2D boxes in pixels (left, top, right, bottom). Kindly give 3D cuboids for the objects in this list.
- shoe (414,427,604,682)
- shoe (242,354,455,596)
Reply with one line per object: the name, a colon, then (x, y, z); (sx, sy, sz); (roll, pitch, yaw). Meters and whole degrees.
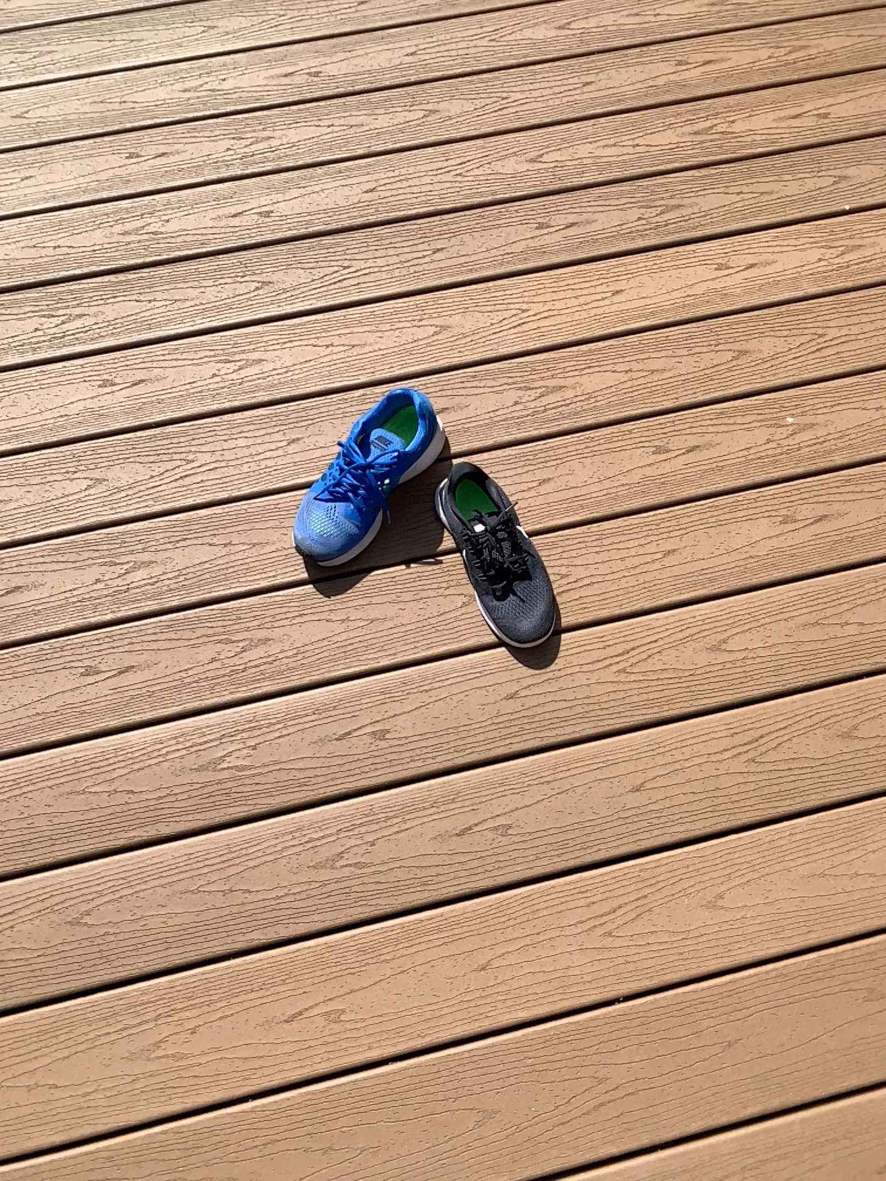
shoe: (0.078, -0.048, 1.170); (0.120, 0.110, 0.290); (-23, 69, -9)
shoe: (-0.119, -0.157, 1.231); (0.120, 0.130, 0.290); (35, 72, 14)
